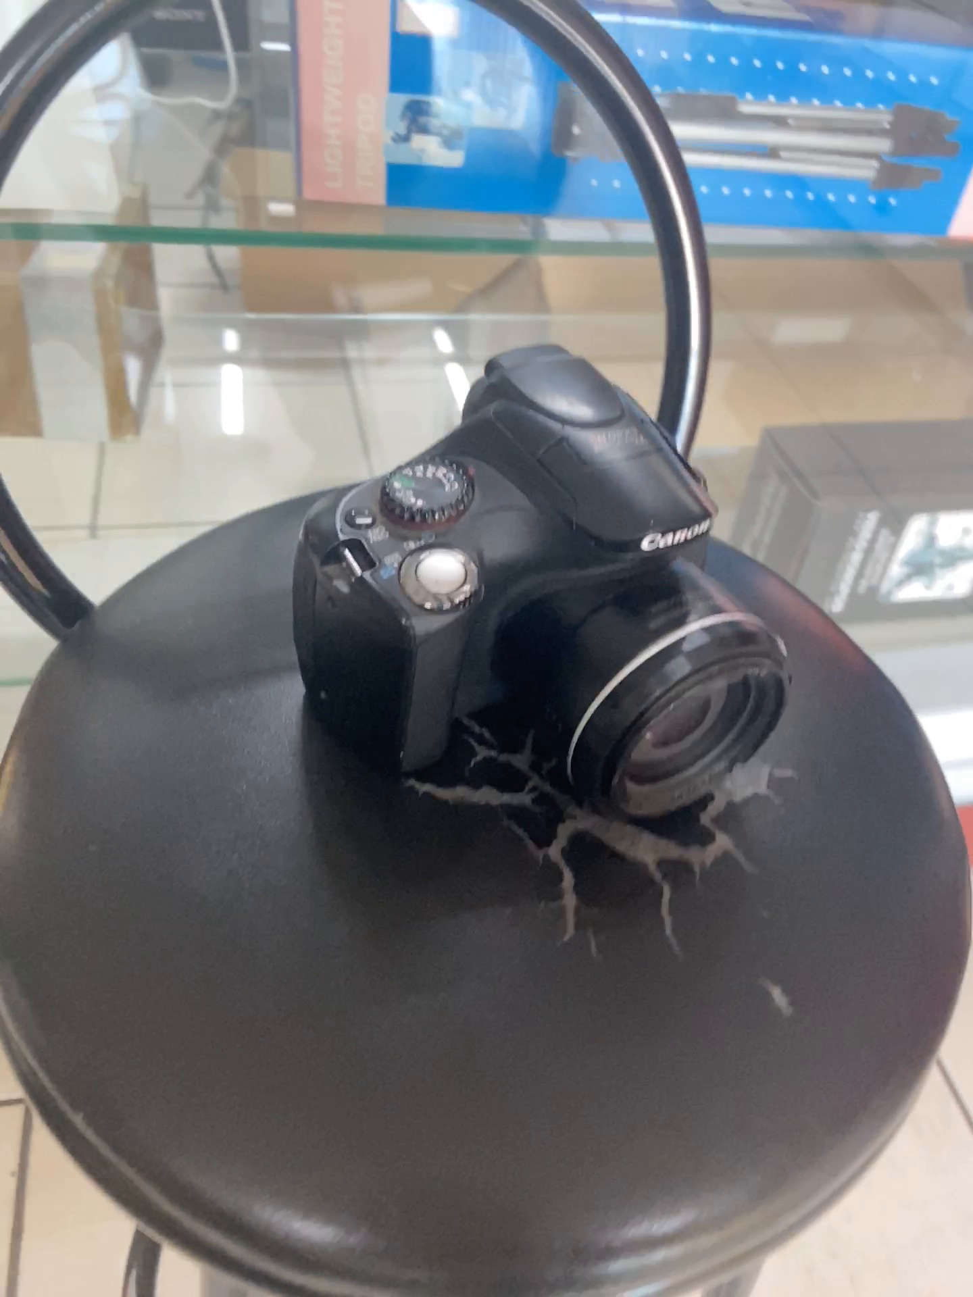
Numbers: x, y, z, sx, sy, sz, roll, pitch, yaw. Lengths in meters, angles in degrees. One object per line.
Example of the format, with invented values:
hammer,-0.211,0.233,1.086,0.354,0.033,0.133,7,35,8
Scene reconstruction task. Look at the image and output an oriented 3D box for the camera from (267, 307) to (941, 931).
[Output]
camera,0.022,-0.017,0.271,0.120,0.089,0.110,-20,48,-27
